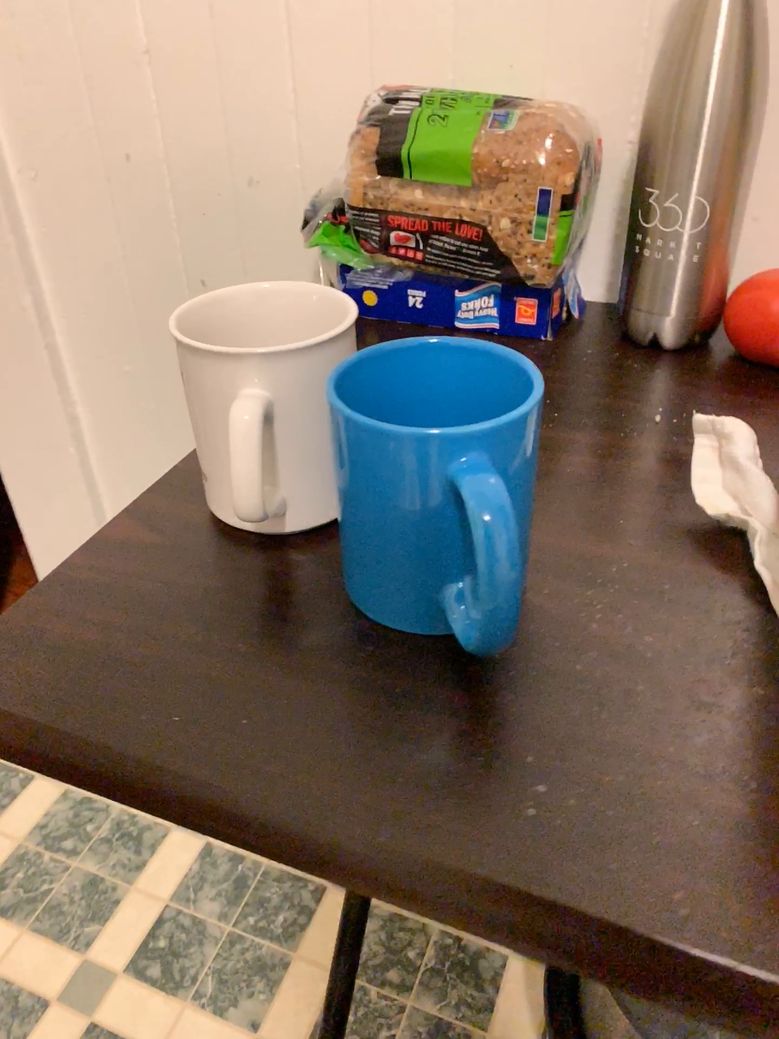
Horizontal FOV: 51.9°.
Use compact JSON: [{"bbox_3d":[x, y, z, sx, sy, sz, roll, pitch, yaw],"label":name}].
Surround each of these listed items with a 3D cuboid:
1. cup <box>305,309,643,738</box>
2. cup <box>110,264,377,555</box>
[{"bbox_3d":[0.022,-0.007,0.322,0.090,0.099,0.141,-7,36,-7],"label":"cup"},{"bbox_3d":[-0.057,-0.057,0.380,0.090,0.089,0.121,1,35,5],"label":"cup"}]
